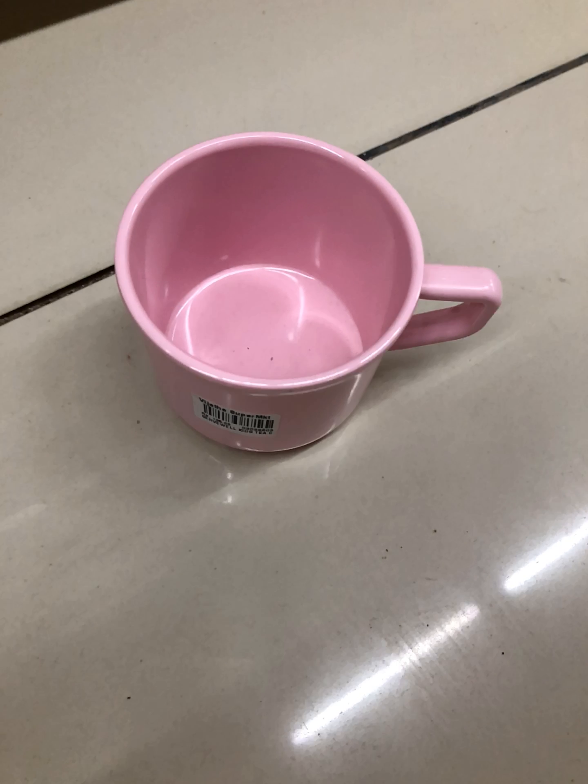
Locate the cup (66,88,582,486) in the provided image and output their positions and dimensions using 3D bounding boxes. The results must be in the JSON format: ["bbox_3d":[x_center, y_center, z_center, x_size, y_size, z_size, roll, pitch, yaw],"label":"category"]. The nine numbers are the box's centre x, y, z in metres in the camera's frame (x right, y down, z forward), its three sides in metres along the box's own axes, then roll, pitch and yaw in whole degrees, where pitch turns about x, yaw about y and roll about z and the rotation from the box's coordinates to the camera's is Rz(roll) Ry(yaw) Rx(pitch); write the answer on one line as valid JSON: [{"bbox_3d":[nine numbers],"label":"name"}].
[{"bbox_3d":[0.005,-0.023,0.192,0.110,0.080,0.080,2,66,-4],"label":"cup"}]
